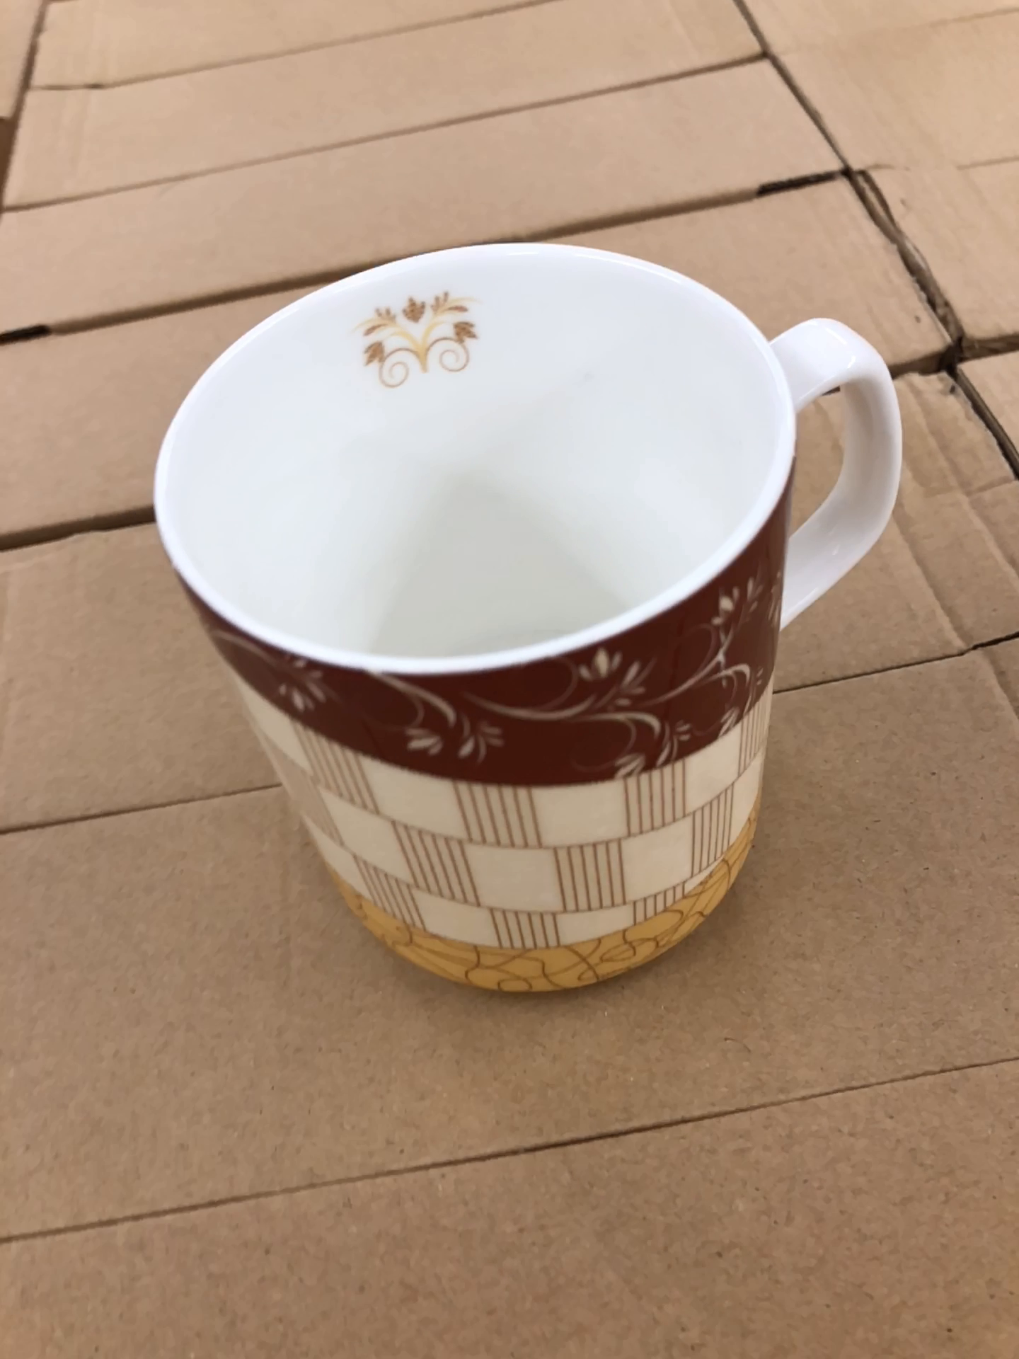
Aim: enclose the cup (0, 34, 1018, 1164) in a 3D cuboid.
[{"bbox_3d":[0.013,-0.011,0.145,0.100,0.080,0.070,-34,55,-16],"label":"cup"}]
